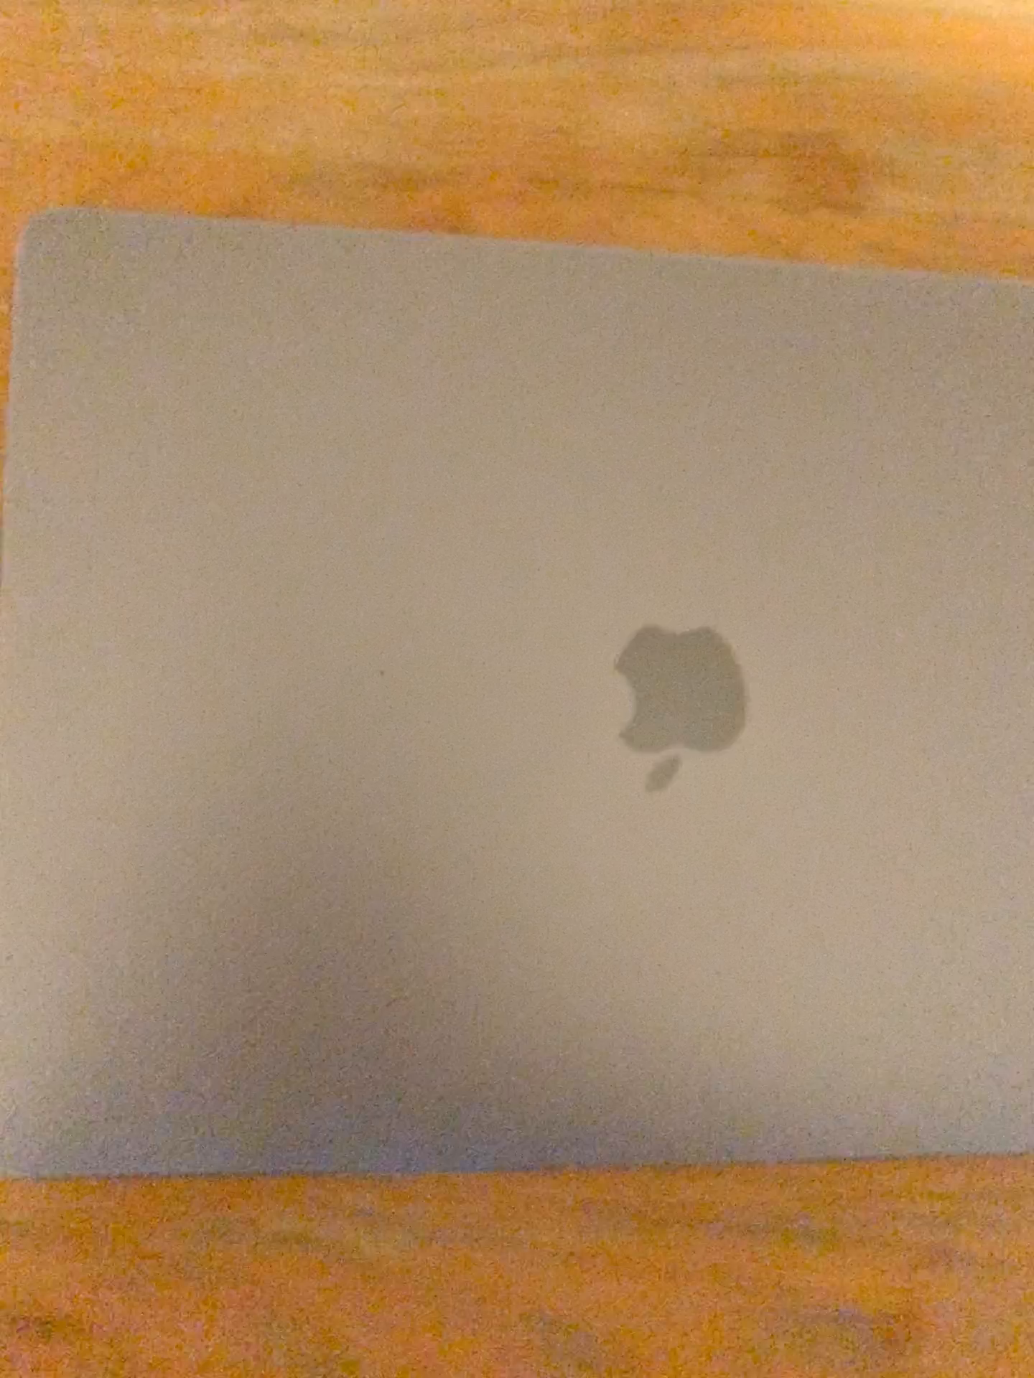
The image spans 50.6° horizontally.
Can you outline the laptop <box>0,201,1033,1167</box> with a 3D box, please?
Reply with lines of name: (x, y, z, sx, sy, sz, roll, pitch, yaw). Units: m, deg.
laptop: (0.033, 0.001, 0.253, 0.292, 0.005, 0.210, 2, 86, -5)
